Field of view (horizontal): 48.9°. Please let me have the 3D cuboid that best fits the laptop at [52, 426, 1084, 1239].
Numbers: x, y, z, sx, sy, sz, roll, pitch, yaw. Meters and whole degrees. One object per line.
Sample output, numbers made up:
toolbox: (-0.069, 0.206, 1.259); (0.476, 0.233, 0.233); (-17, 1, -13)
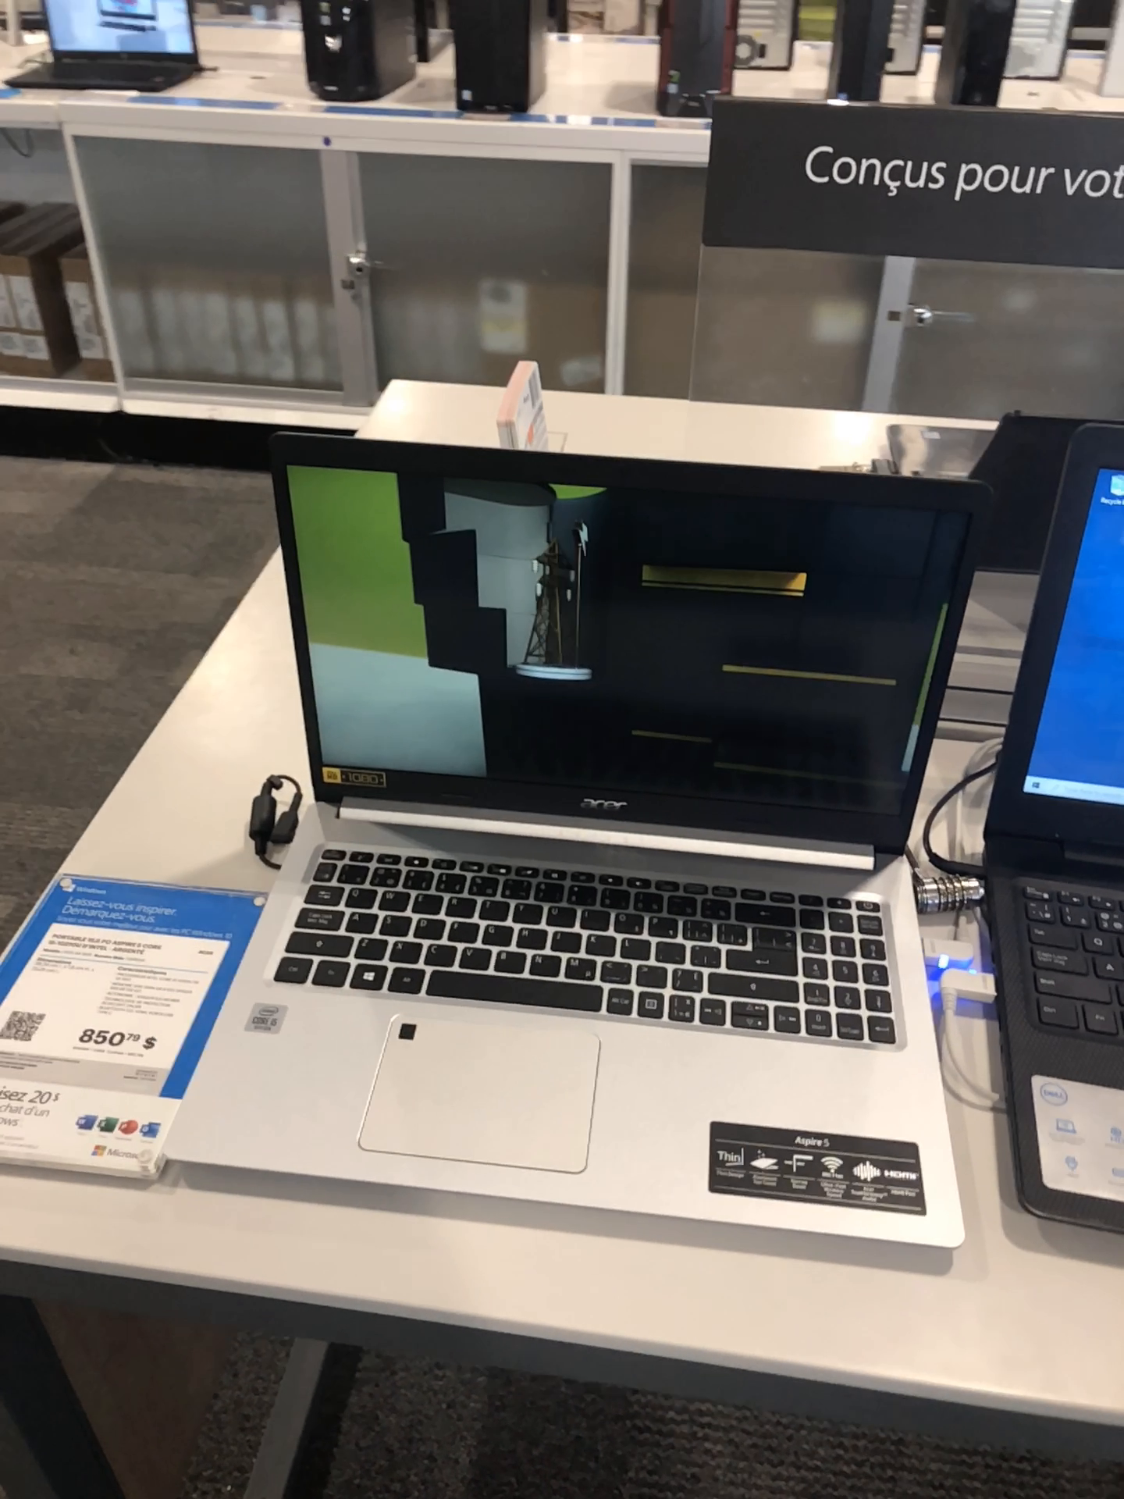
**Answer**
laptop: (0.009, 0.022, 0.586); (0.349, 0.229, 0.268); (4, 38, 6)
